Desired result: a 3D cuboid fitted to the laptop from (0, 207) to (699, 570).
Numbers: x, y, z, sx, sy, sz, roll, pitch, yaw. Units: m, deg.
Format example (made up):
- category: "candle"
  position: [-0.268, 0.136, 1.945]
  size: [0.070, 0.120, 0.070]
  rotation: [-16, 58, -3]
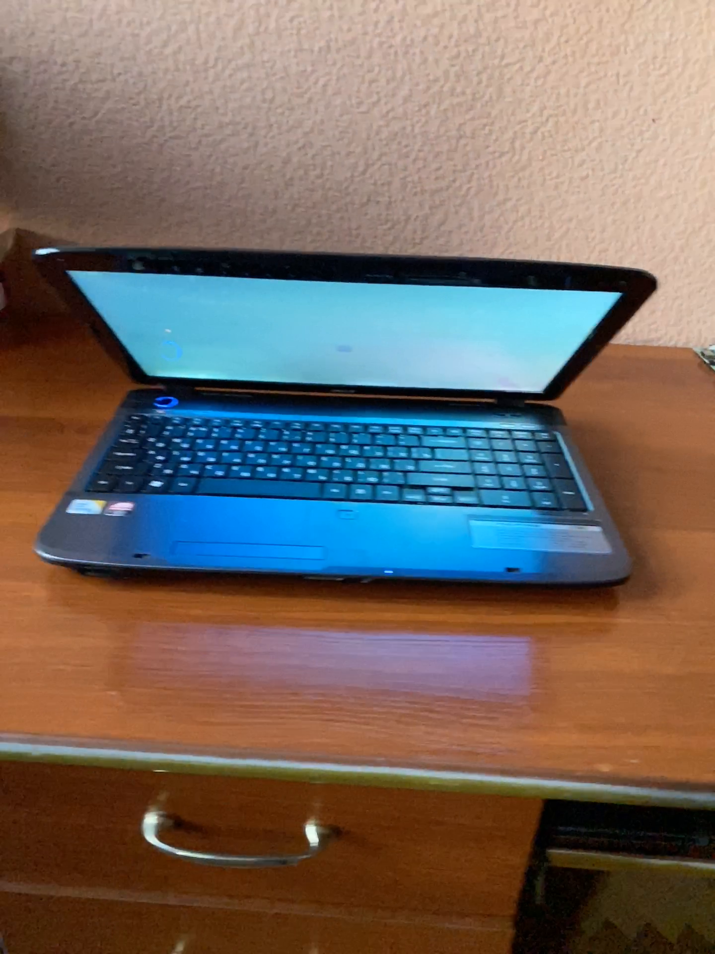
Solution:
- category: "laptop"
  position: [-0.012, -0.080, 0.527]
  size: [0.380, 0.162, 0.242]
  rotation: [2, 31, 0]
